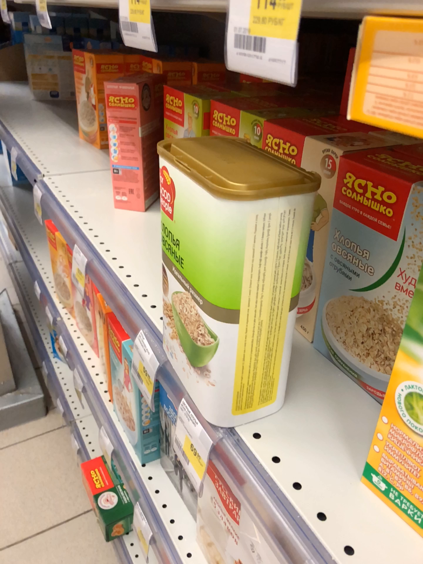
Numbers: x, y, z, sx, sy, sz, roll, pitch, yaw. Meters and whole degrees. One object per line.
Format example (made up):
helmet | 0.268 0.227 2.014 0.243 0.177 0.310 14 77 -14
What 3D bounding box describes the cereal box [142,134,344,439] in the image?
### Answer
cereal box | 0.010 -0.005 0.378 0.090 0.189 0.141 -10 32 -21
